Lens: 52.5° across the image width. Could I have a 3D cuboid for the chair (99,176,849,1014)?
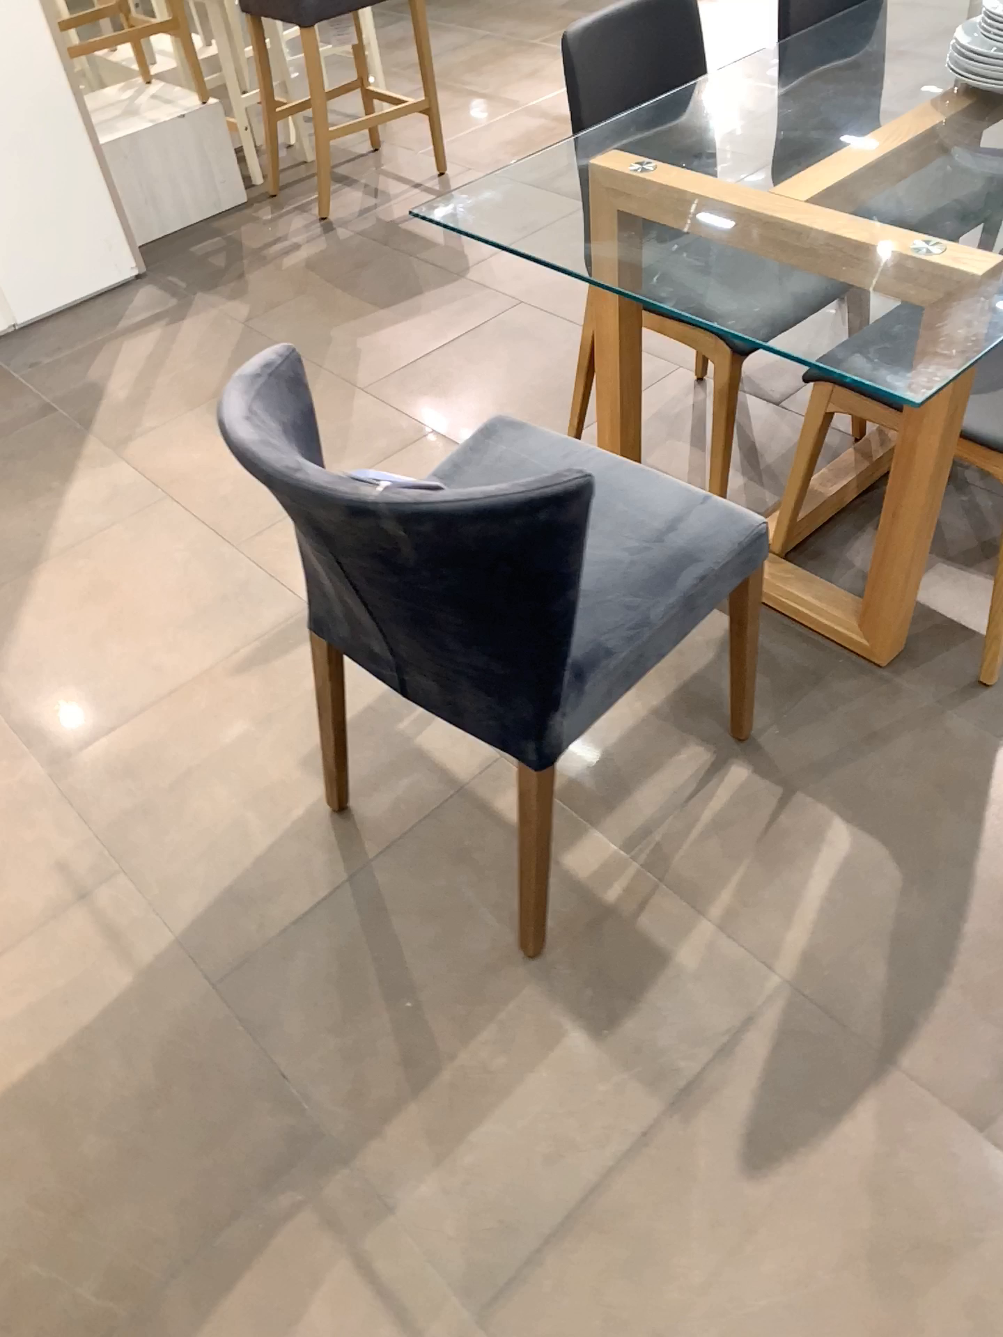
[{"bbox_3d":[0.002,-0.108,1.418,0.616,0.806,0.580,-38,52,-27],"label":"chair"}]
